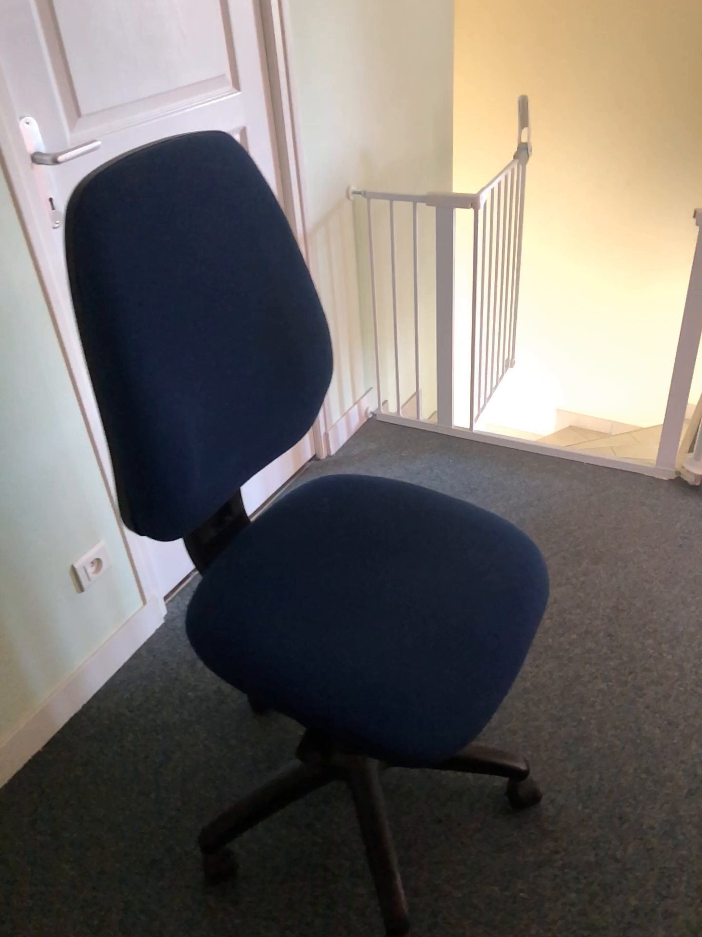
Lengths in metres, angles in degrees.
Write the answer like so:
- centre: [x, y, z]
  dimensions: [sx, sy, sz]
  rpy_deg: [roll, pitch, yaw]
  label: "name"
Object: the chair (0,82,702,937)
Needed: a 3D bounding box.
- centre: [0.016, 0.103, 1.148]
  dimensions: [0.670, 1.113, 0.705]
  rpy_deg: [13, 39, 24]
  label: "chair"
